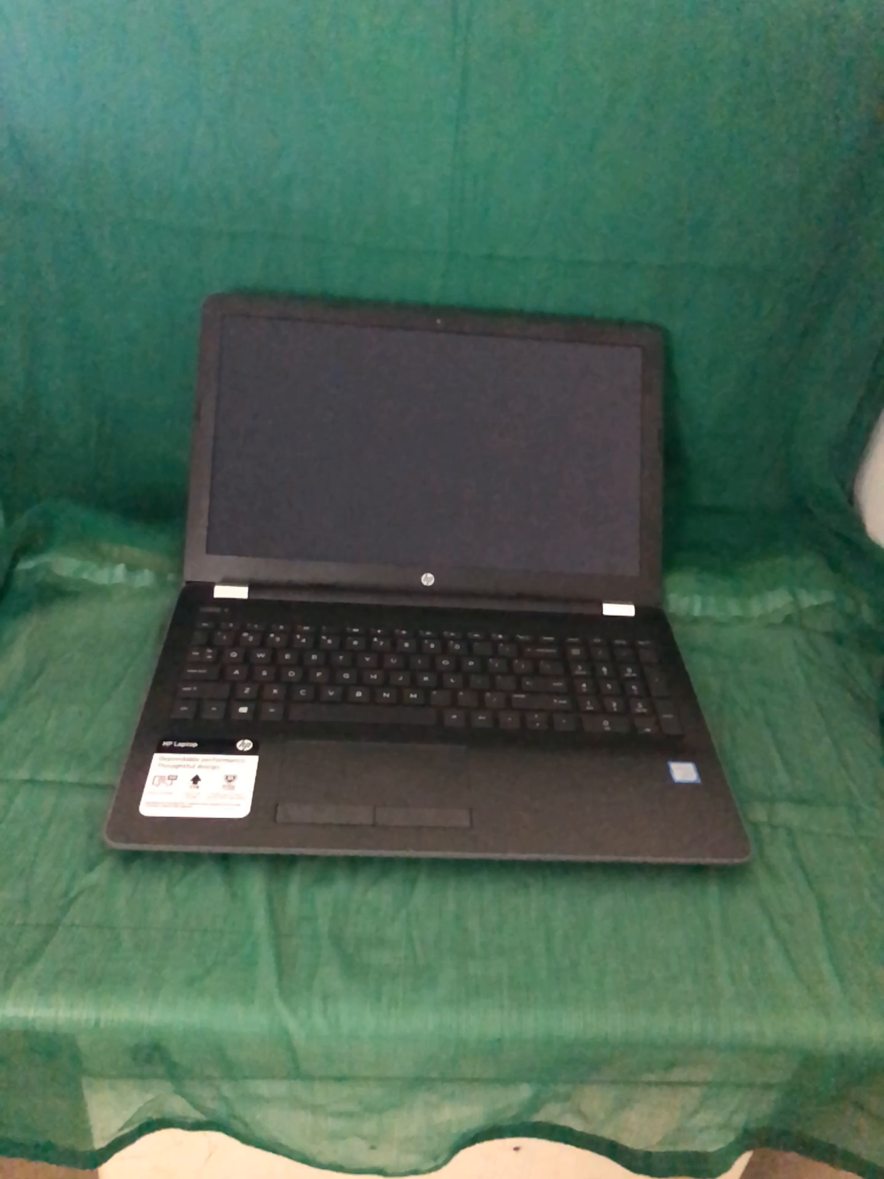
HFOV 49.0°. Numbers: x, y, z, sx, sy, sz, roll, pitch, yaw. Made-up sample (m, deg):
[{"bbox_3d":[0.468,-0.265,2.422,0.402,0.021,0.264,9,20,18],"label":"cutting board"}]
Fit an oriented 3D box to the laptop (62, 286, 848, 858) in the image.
[{"bbox_3d":[0.001,-0.043,0.683,0.378,0.178,0.417,3,35,-4],"label":"laptop"}]
